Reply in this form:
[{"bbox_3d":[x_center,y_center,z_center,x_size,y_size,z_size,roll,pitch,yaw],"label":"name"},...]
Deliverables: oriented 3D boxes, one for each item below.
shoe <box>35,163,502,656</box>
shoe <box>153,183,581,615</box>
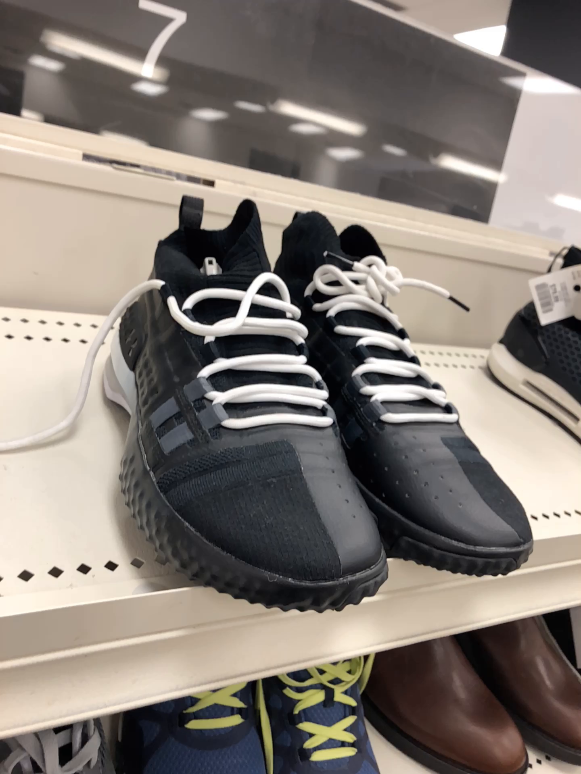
[{"bbox_3d":[-0.060,-0.029,0.398,0.120,0.136,0.352,3,24,-31],"label":"shoe"},{"bbox_3d":[0.035,-0.028,0.447,0.120,0.136,0.352,1,24,-35],"label":"shoe"}]
